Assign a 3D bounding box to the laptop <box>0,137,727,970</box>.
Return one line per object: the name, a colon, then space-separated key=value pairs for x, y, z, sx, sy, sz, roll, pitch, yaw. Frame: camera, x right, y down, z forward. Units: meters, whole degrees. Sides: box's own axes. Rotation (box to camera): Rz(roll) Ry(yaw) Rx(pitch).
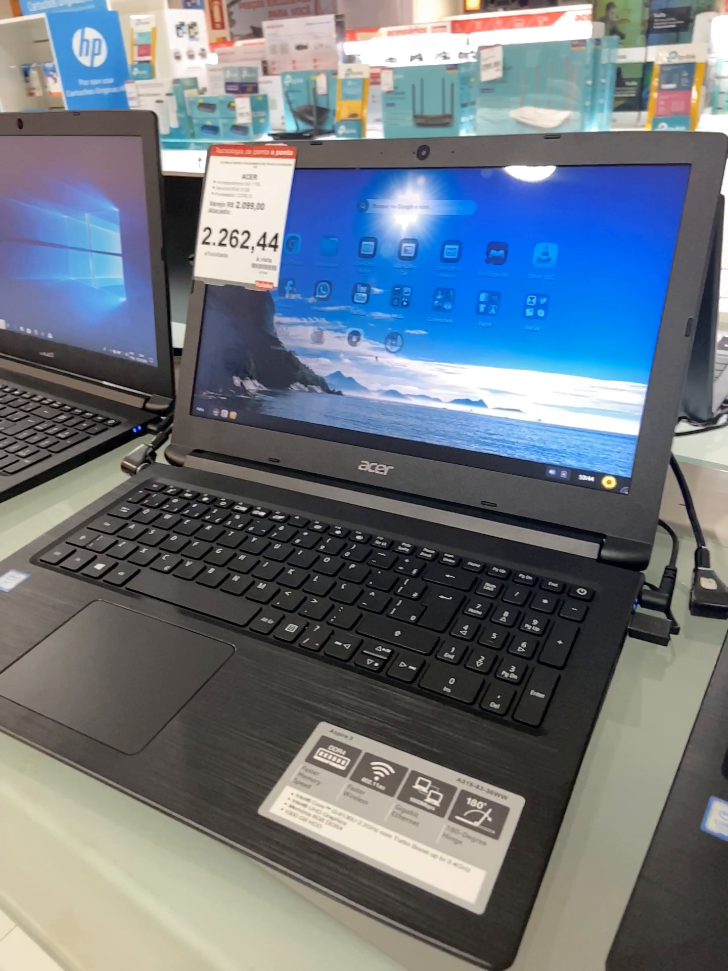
laptop: x=-0.040 y=-0.051 z=0.433 sx=0.389 sy=0.226 sz=0.376 roll=12 pitch=33 yaw=27
